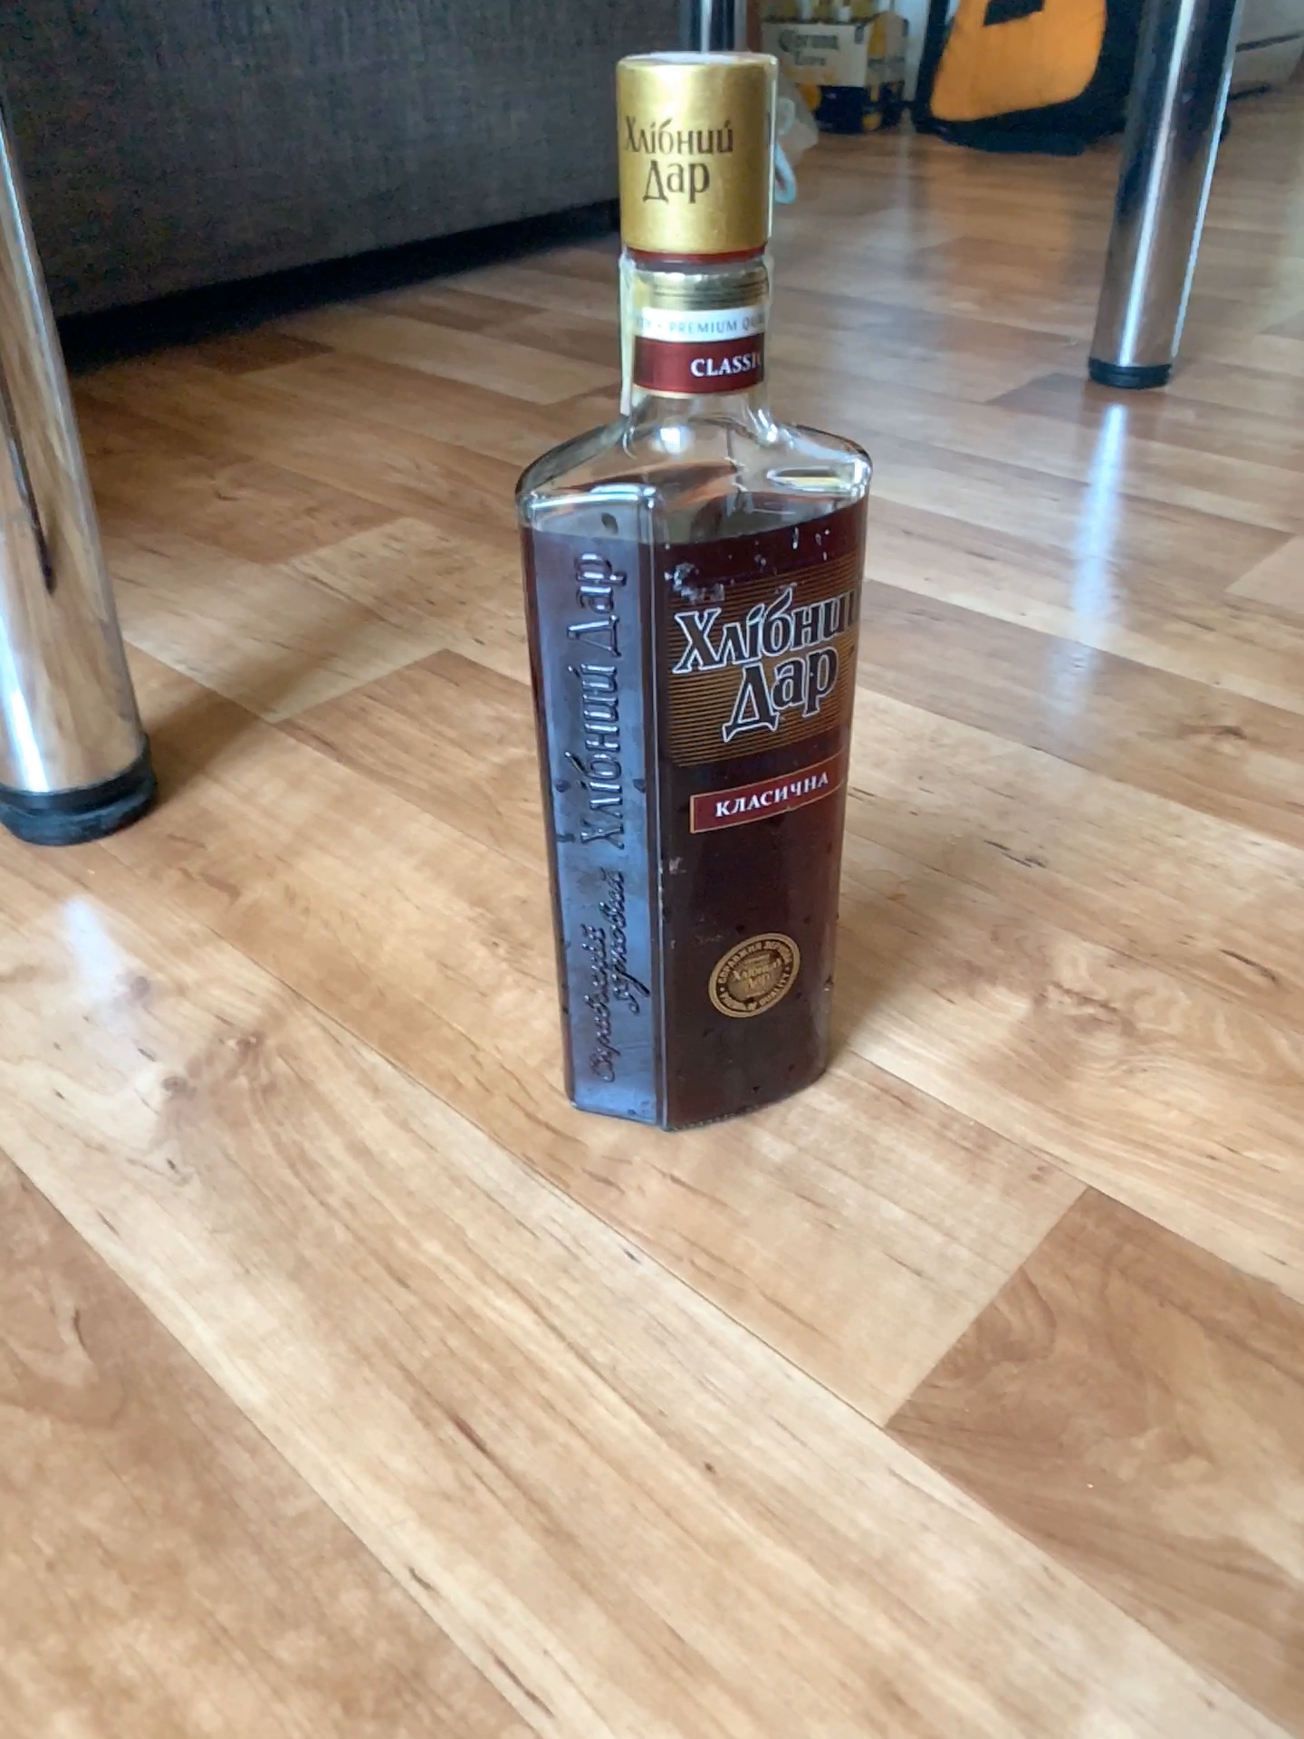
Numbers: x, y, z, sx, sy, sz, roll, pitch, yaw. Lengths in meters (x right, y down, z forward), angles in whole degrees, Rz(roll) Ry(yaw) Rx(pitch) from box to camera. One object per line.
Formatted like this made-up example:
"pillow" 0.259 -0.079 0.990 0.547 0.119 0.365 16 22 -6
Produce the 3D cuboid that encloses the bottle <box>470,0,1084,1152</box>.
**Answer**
"bottle" 0.020 -0.048 0.287 0.090 0.239 0.050 -7 35 -7
